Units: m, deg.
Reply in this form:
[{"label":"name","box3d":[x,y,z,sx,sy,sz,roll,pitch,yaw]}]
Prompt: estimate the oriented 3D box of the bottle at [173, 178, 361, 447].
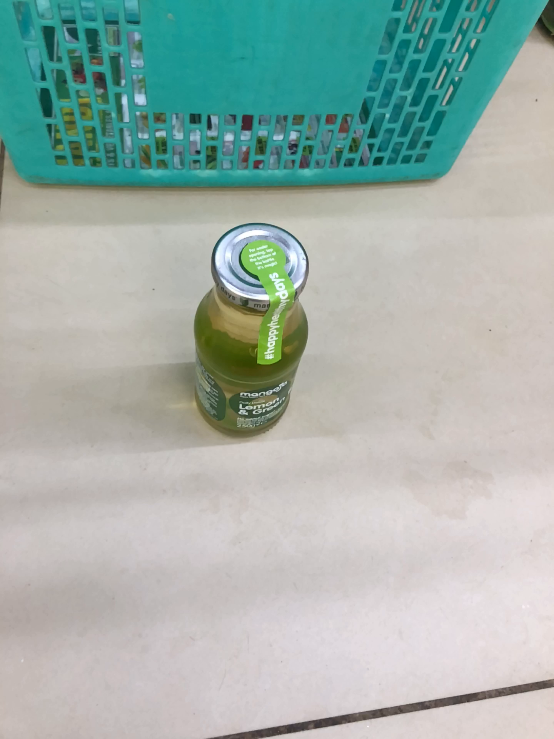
[{"label":"bottle","box3d":[-0.014,-0.023,0.348,0.070,0.149,0.070,3,61,-6]}]
